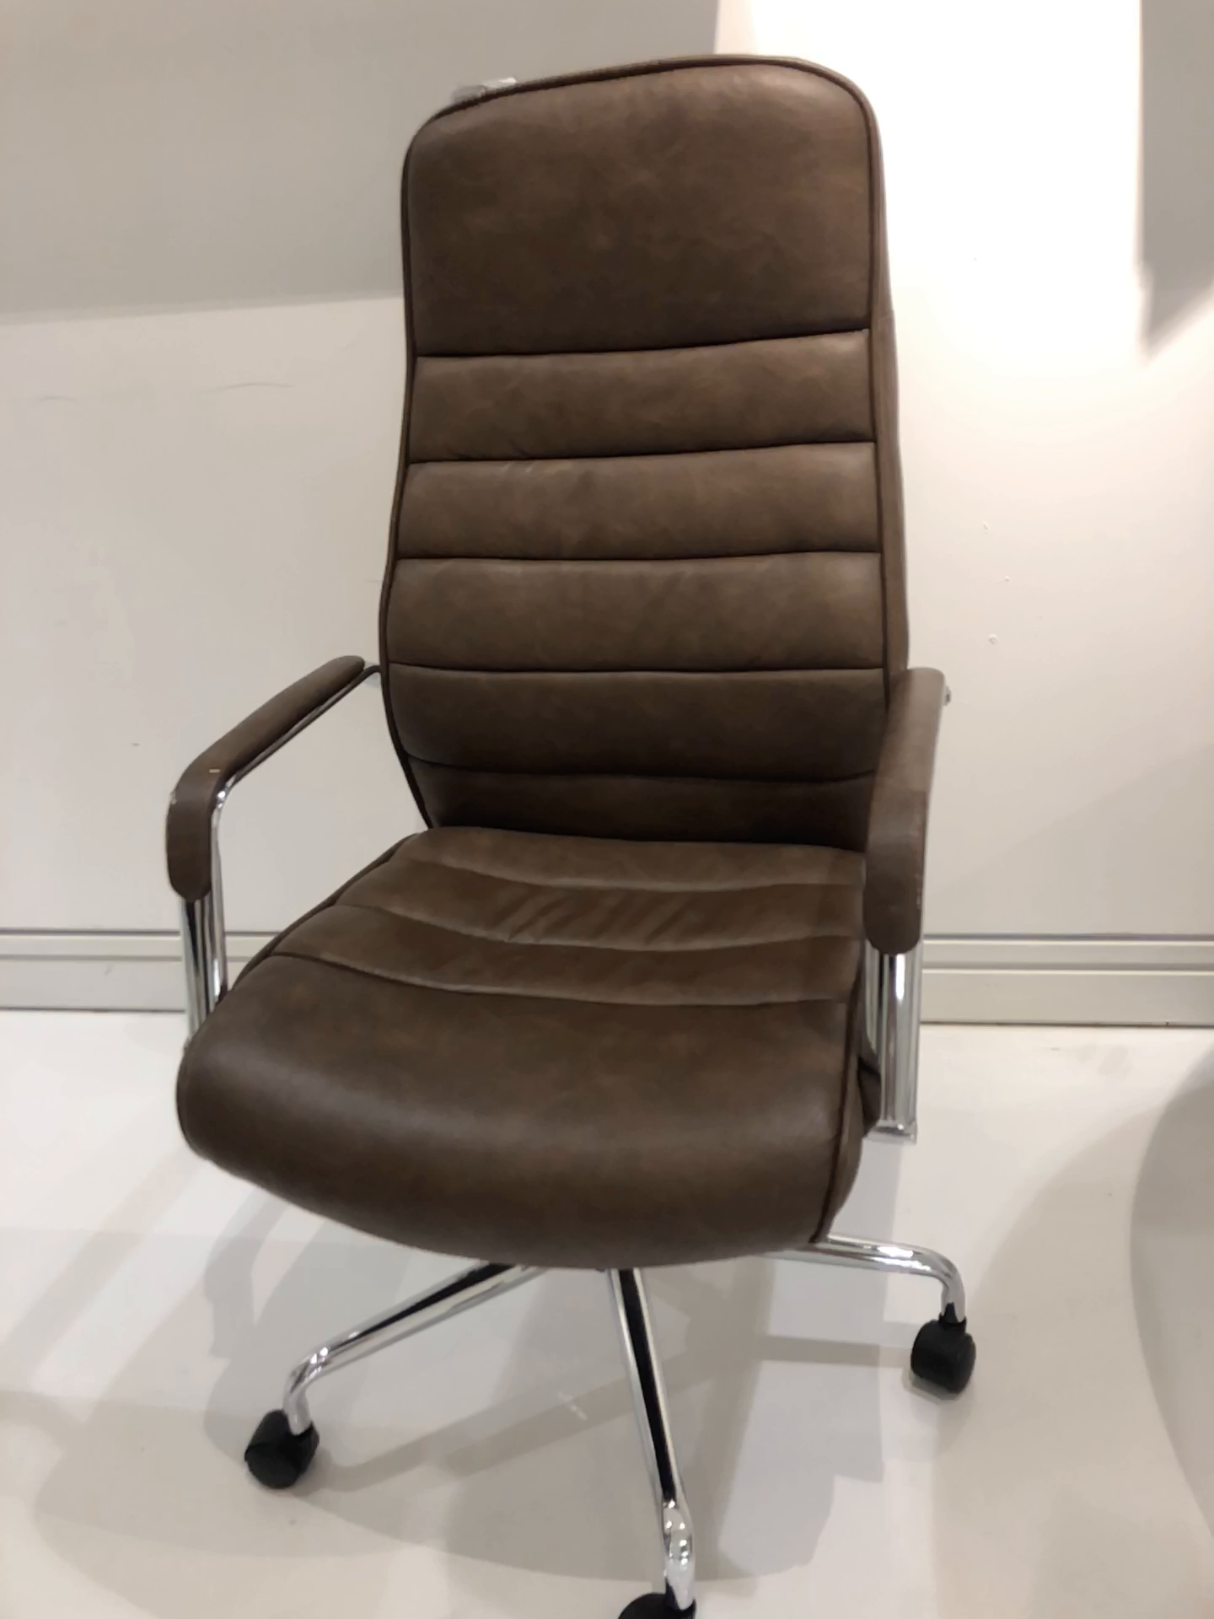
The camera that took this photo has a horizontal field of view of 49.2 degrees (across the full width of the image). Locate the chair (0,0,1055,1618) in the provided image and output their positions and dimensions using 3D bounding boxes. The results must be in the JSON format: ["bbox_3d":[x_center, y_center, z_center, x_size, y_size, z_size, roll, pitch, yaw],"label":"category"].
[{"bbox_3d":[-0.015,-0.003,1.150,0.700,1.172,0.785,3,25,18],"label":"chair"}]
